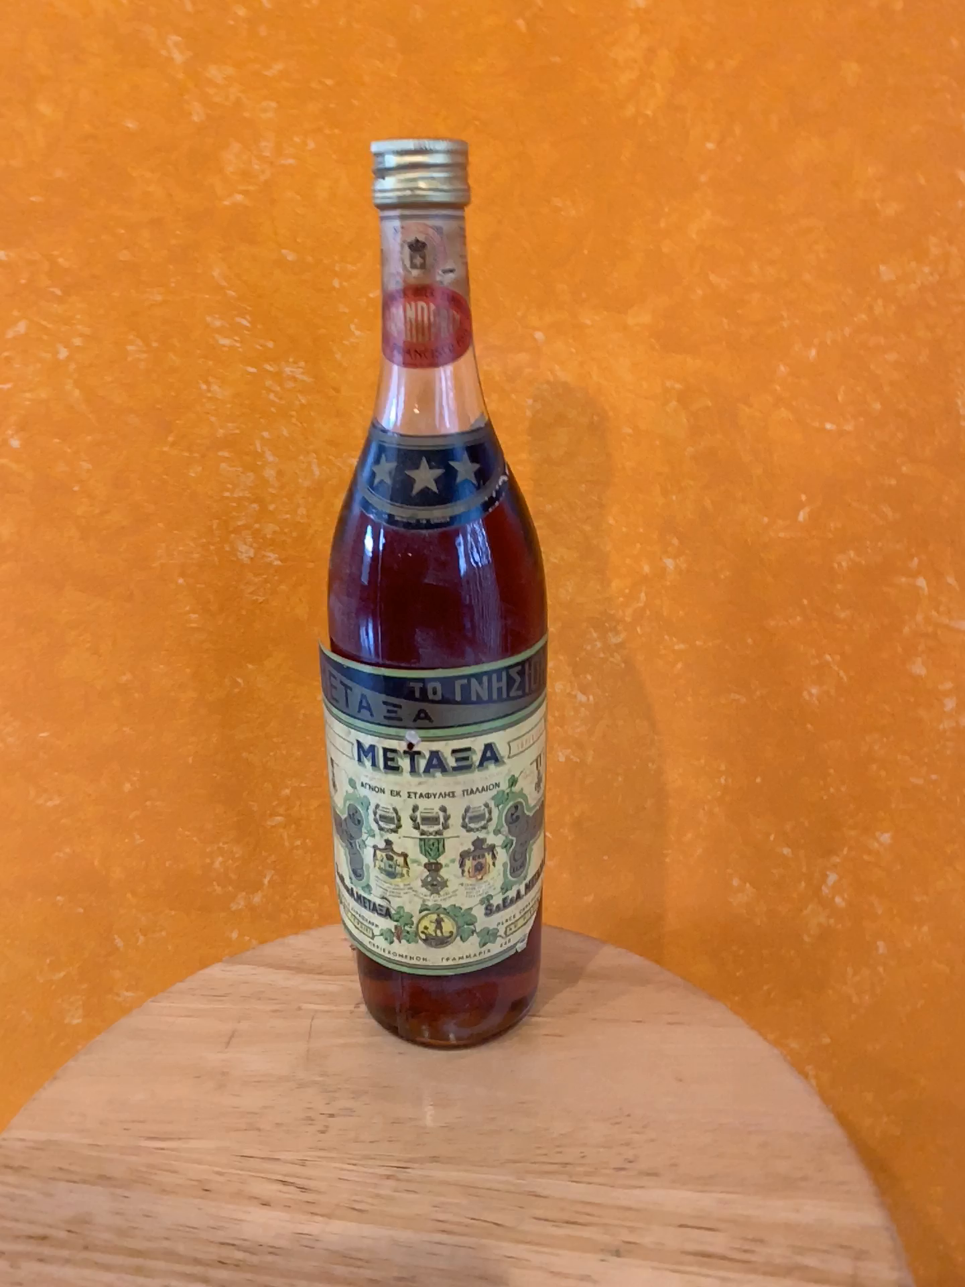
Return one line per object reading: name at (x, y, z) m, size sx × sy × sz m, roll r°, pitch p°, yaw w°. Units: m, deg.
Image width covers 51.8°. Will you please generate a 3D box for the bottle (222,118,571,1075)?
bottle at (-0.017, -0.001, 0.327) m, size 0.080 × 0.298 × 0.070 m, roll 3°, pitch 24°, yaw 8°
